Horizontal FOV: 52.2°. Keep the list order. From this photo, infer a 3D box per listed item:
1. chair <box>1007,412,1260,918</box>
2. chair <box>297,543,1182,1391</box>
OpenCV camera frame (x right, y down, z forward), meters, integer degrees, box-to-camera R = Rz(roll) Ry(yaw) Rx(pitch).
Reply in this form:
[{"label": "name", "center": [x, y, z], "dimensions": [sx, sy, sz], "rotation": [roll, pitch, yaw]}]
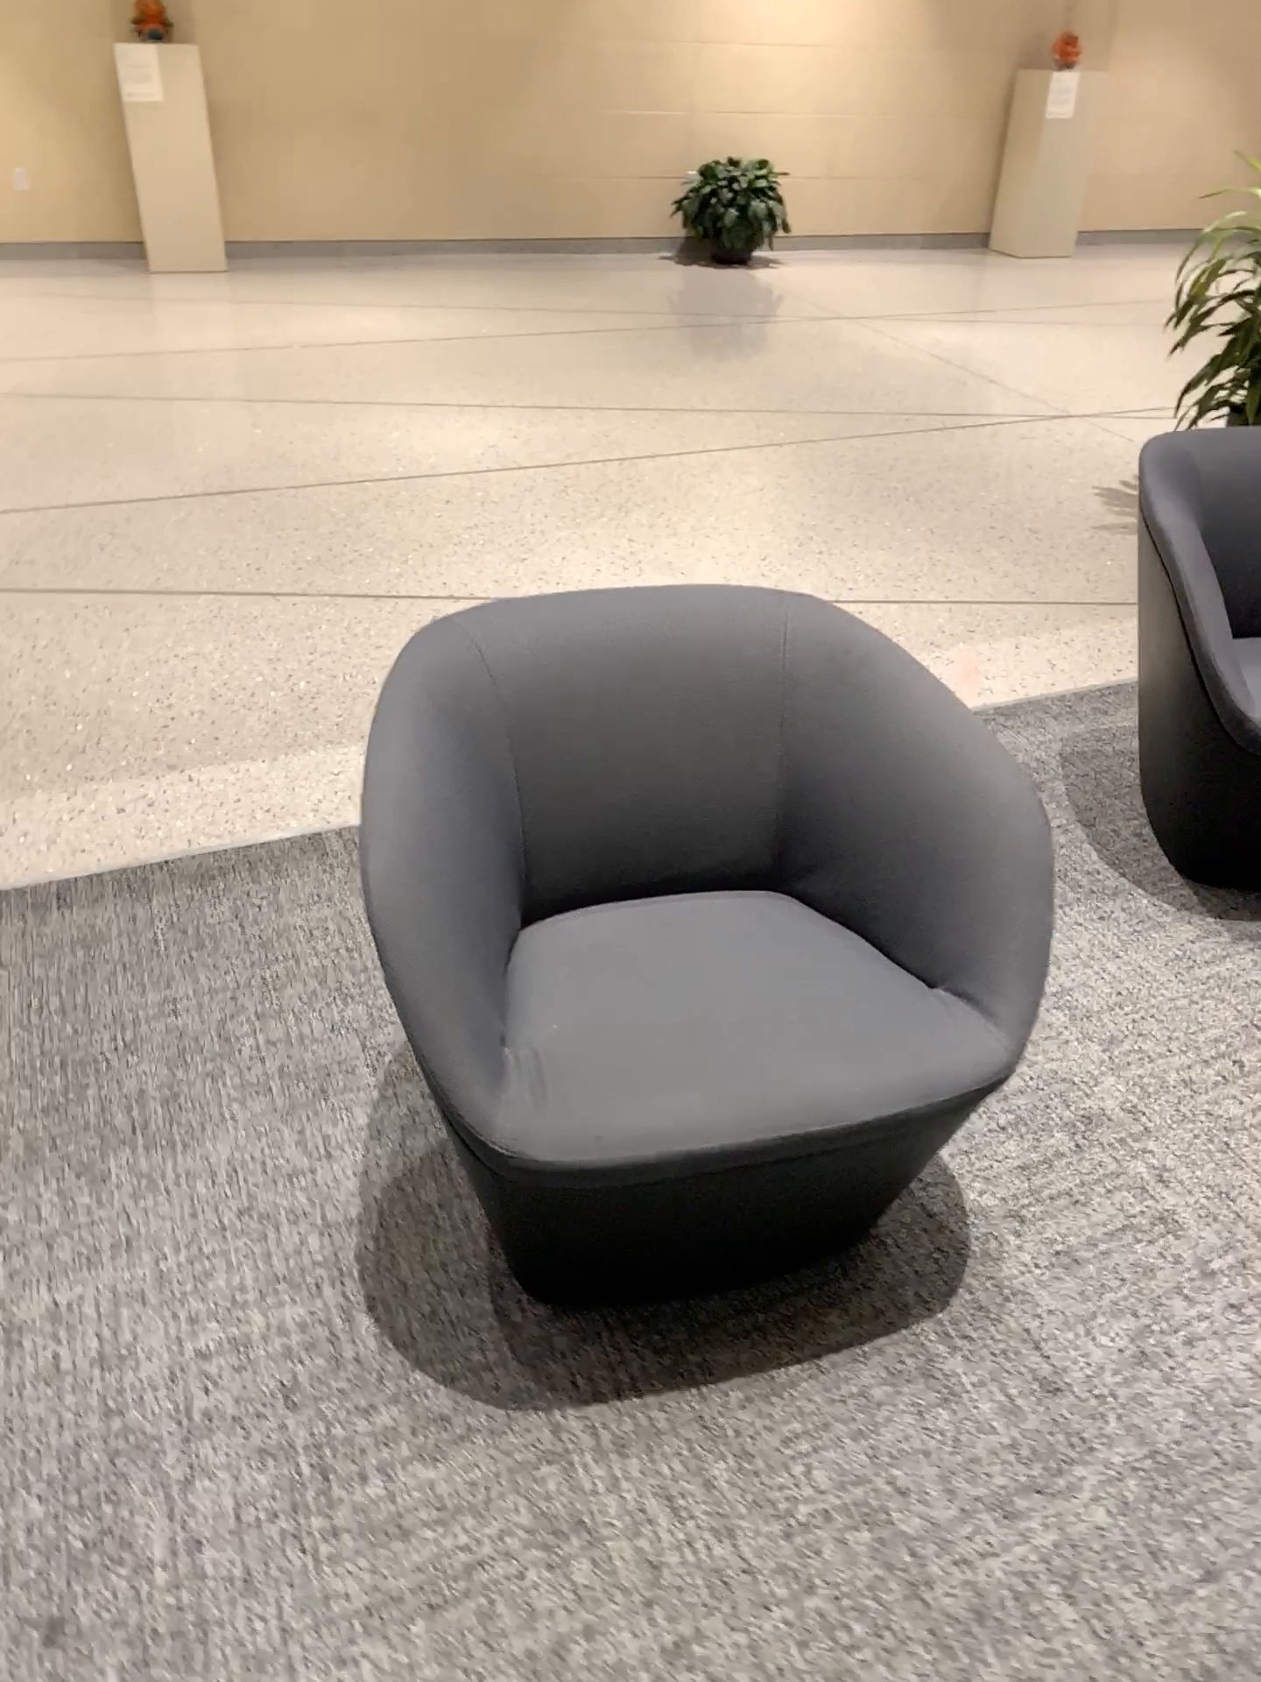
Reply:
[{"label": "chair", "center": [1.220, -0.343, 2.297], "dimensions": [0.768, 0.668, 0.636], "rotation": [-3, 32, -8]}, {"label": "chair", "center": [0.055, 0.090, 1.560], "dimensions": [0.779, 0.658, 0.636], "rotation": [-8, 33, -15]}]
